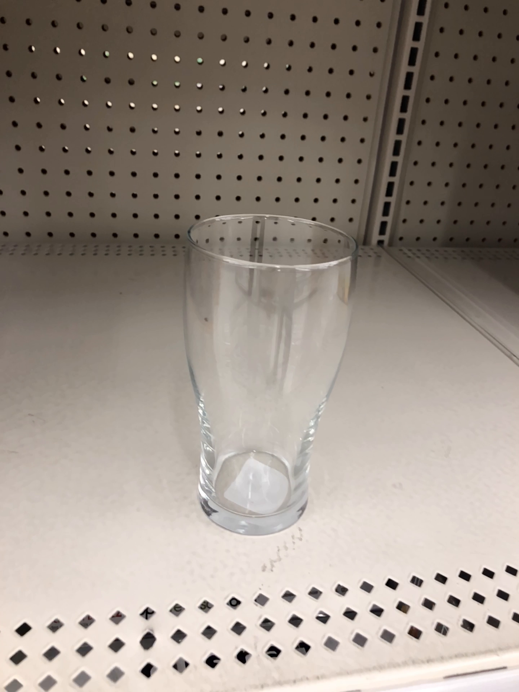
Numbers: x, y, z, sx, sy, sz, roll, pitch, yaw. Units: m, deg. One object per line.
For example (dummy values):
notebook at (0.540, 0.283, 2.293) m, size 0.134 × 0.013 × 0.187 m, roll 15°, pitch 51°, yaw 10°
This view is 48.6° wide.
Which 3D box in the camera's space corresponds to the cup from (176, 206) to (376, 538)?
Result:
cup at (0.003, 0.012, 0.286) m, size 0.076 × 0.138 × 0.081 m, roll 3°, pitch 27°, yaw -2°
